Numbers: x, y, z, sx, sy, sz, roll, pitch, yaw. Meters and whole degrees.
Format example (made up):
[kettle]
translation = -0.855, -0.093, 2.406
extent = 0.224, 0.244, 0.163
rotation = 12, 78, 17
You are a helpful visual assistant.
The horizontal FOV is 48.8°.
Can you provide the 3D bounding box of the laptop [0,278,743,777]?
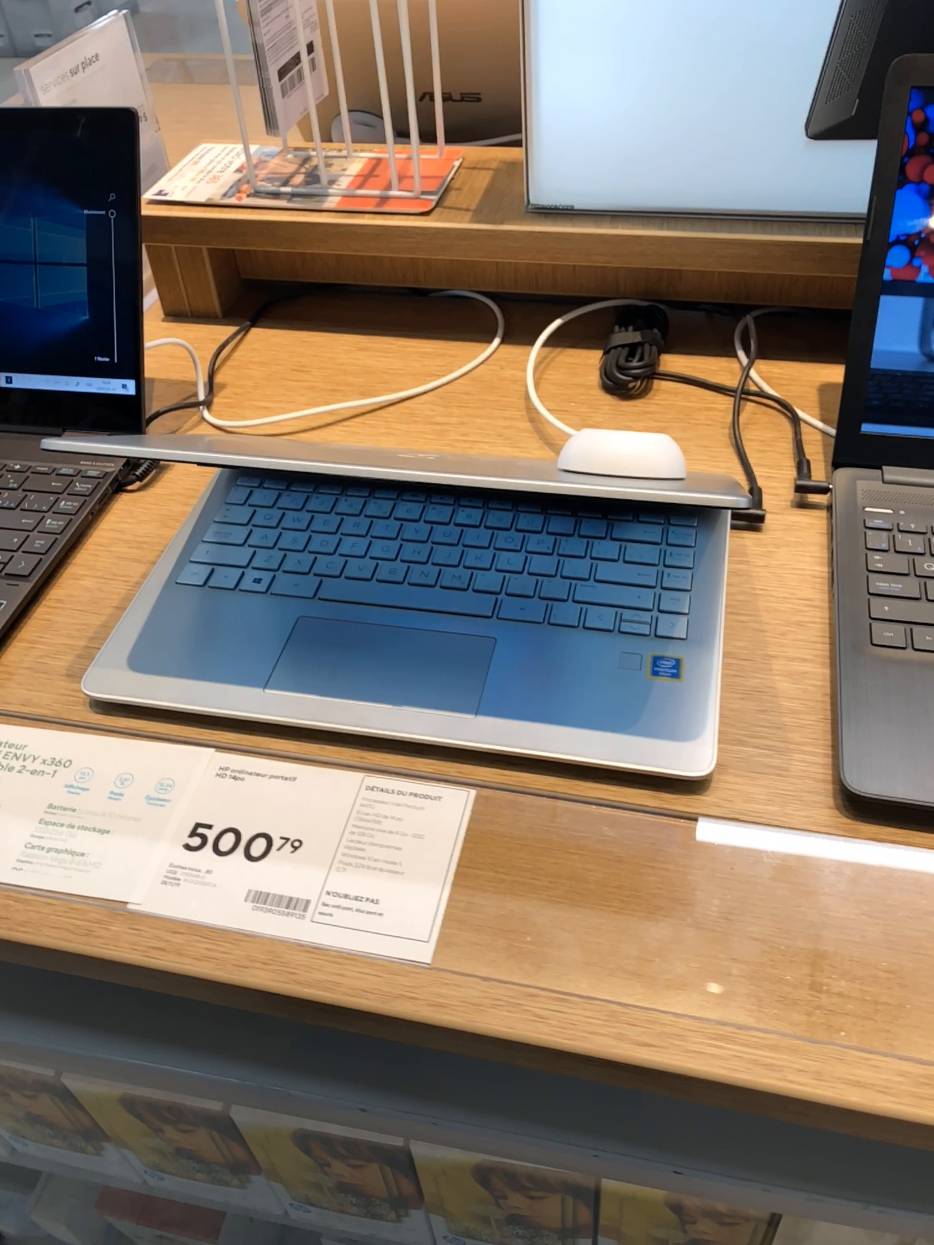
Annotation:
[laptop]
translation = -0.030, -0.065, 0.526
extent = 0.314, 0.110, 0.217
rotation = 6, 47, 12
